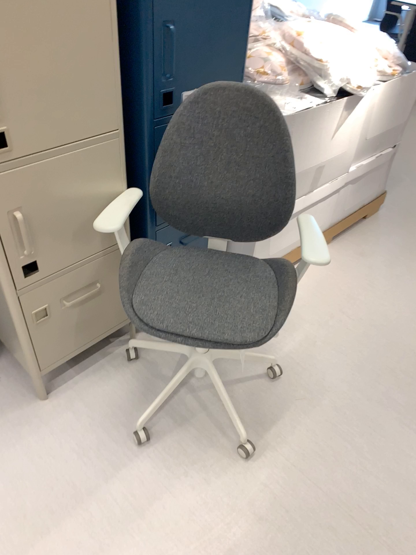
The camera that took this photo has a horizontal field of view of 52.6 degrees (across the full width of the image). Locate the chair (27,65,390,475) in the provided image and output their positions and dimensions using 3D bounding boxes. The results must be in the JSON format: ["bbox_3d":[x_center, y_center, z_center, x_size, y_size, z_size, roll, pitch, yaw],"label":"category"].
[{"bbox_3d":[0.007,-0.001,1.320,0.650,0.996,0.673,9,41,4],"label":"chair"}]
